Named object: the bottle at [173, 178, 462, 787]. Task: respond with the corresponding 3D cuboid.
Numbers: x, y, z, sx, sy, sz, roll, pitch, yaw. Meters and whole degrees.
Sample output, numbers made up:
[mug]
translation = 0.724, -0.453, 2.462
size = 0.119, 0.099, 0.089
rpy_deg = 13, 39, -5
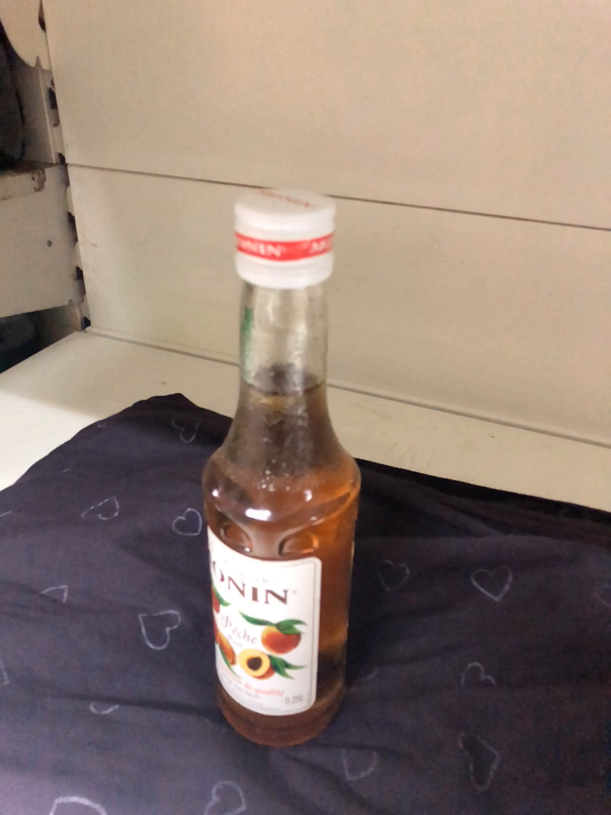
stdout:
[bottle]
translation = 0.000, 0.033, 0.248
size = 0.060, 0.209, 0.060
rpy_deg = 2, 28, -1
